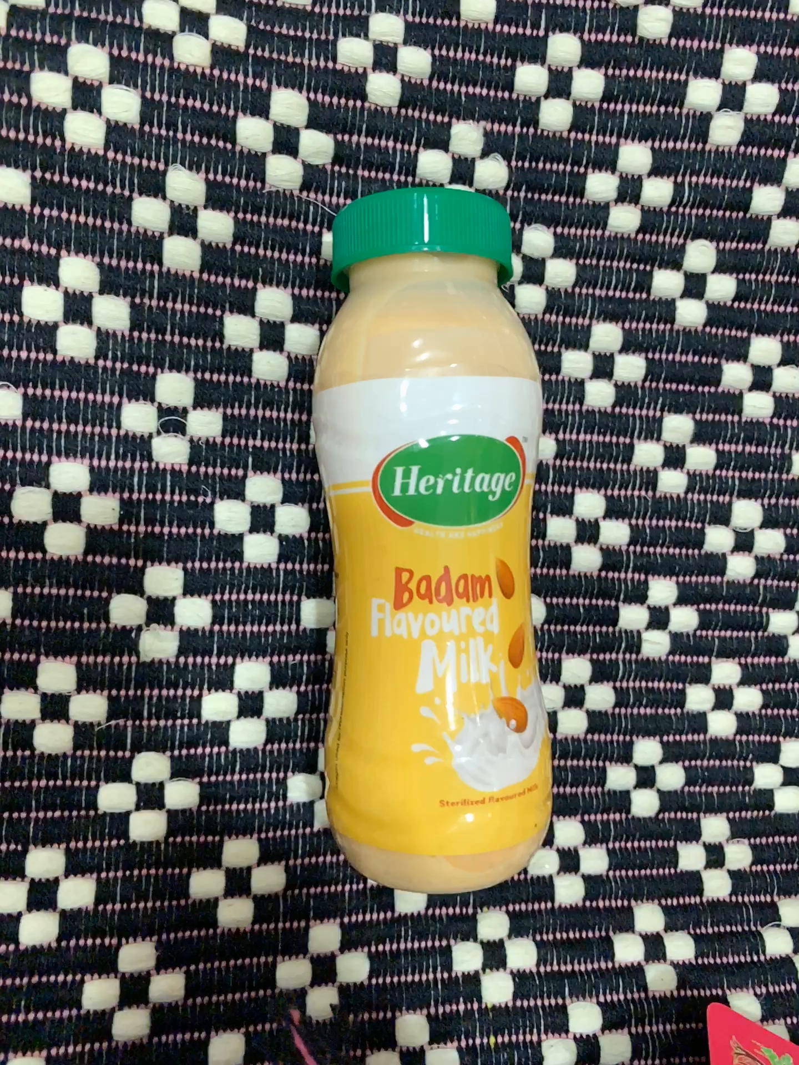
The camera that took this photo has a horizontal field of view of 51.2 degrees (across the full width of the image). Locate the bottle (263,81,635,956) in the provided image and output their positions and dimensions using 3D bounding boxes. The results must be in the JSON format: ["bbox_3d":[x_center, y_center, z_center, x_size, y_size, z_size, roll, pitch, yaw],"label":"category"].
[{"bbox_3d":[0.008,-0.003,0.171,0.060,0.040,0.150,-1,88,-19],"label":"bottle"}]
